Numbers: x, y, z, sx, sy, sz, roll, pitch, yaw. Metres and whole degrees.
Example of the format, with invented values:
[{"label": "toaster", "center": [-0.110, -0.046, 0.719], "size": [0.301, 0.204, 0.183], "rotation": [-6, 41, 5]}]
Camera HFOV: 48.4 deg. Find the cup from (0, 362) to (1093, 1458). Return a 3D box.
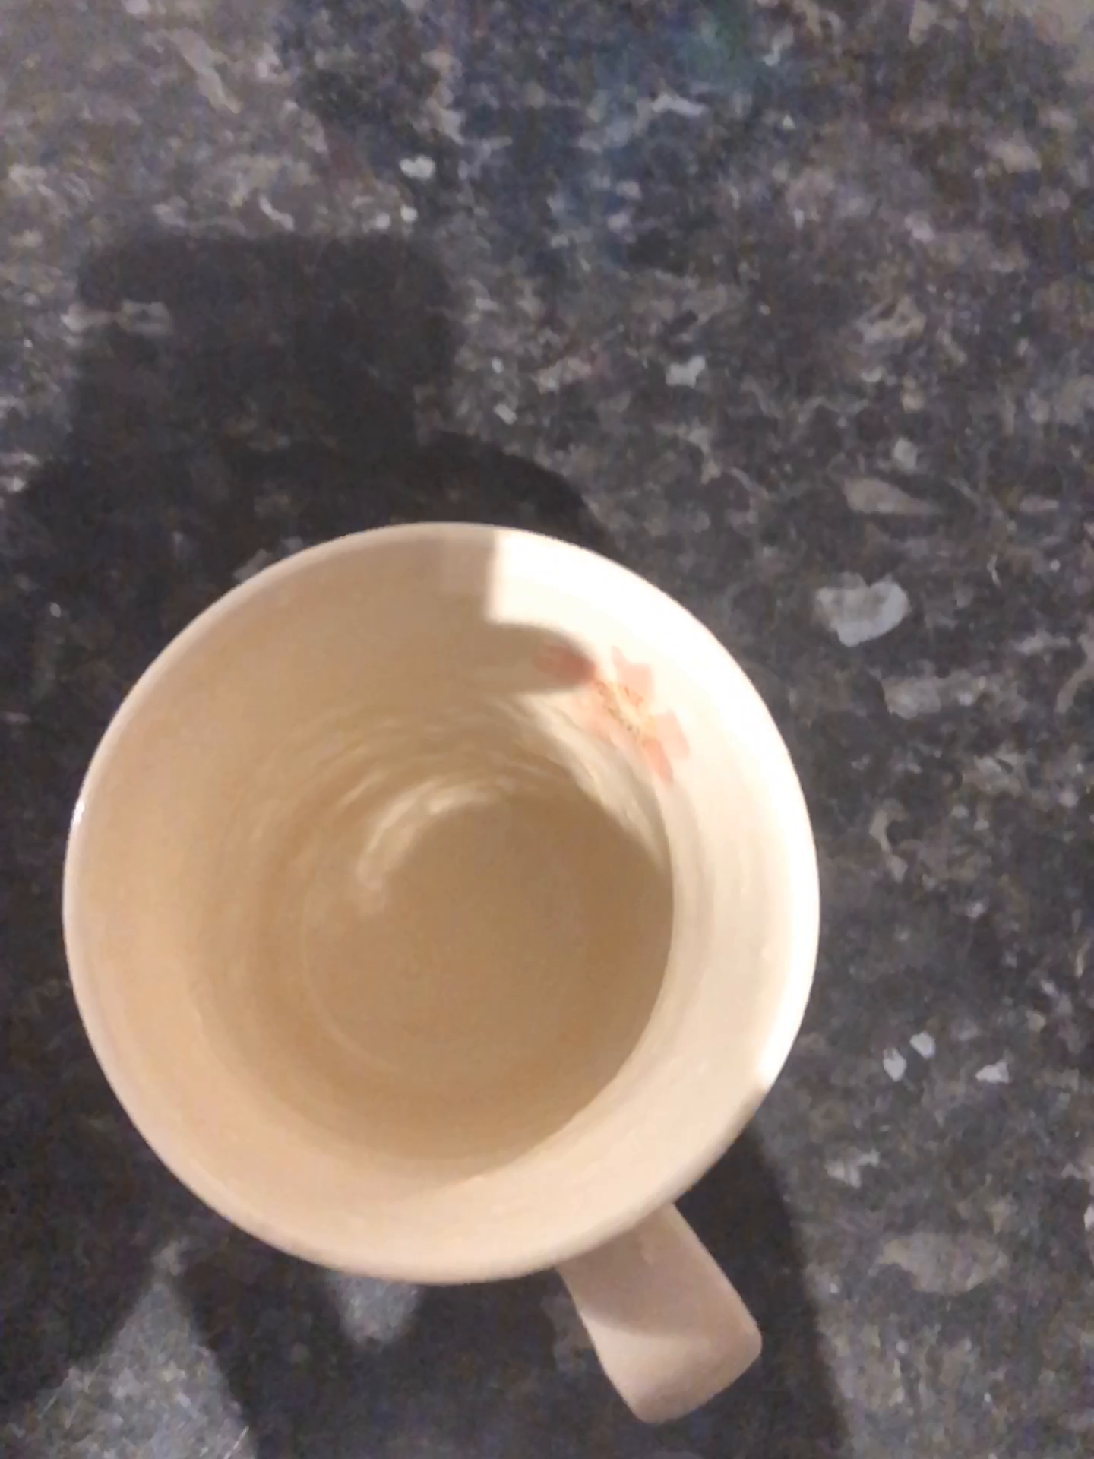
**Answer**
[{"label": "cup", "center": [-0.004, 0.043, 0.179], "size": [0.090, 0.100, 0.130], "rotation": [-29, 80, -12]}]
